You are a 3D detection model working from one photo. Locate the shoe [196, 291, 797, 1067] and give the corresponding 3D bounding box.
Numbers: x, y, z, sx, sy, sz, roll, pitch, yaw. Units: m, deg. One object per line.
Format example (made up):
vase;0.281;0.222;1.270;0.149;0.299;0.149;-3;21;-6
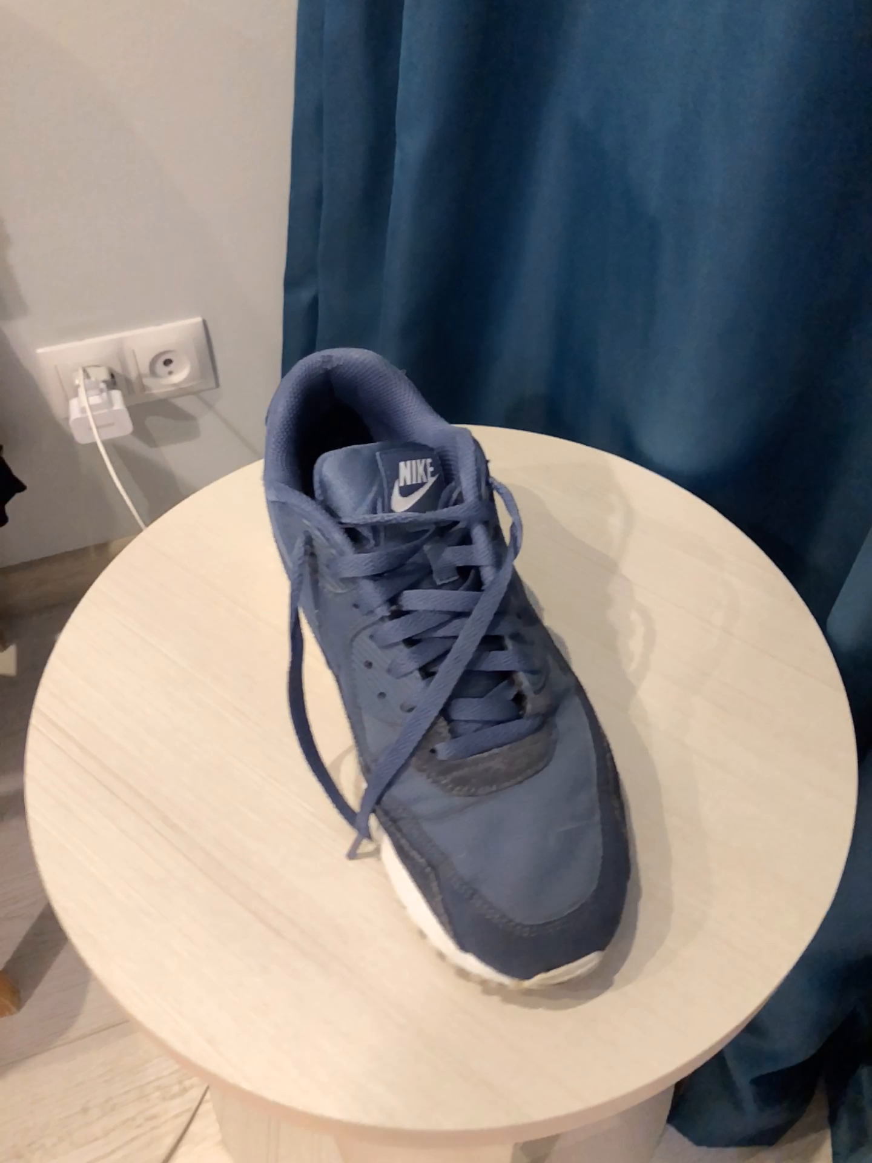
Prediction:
shoe;-0.002;0.014;0.382;0.110;0.109;0.281;-16;50;-15
